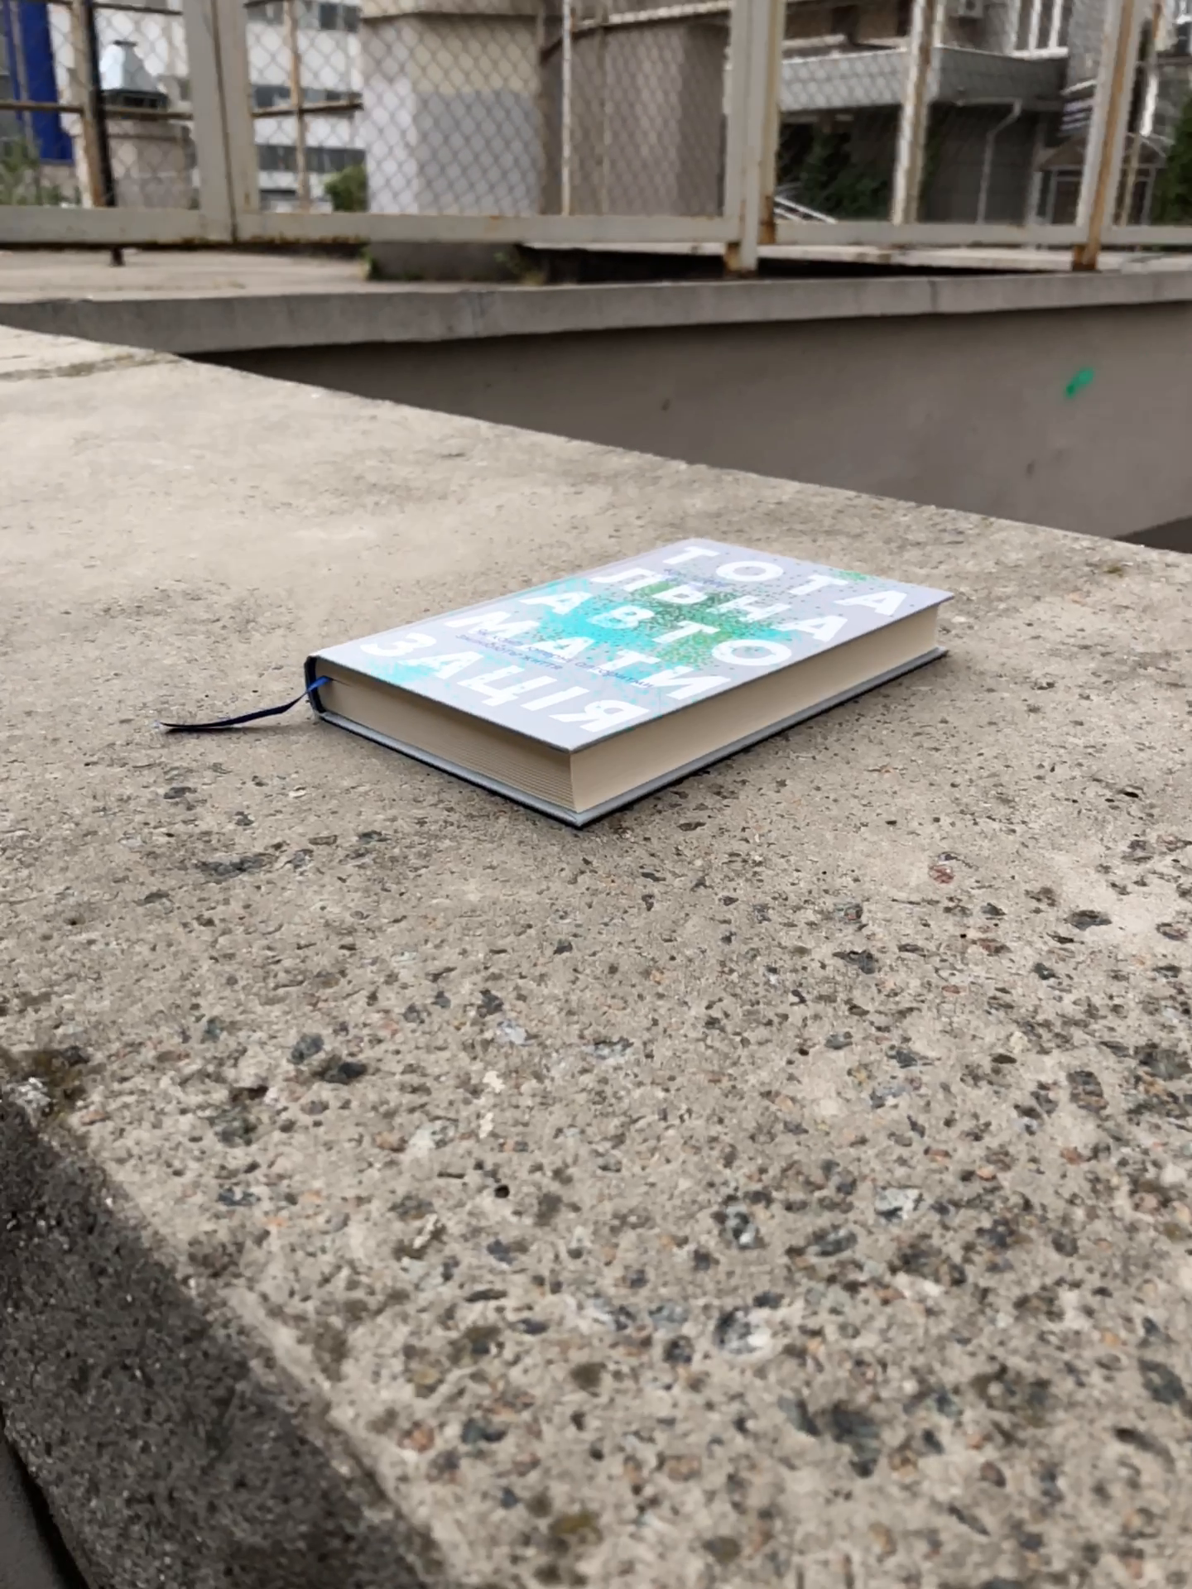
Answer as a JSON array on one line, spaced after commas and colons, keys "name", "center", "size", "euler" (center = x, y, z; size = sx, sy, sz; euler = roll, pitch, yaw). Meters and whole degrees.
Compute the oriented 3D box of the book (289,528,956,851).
[{"name": "book", "center": [0.016, -0.055, 0.518], "size": [0.150, 0.030, 0.221], "euler": [22, 35, 40]}]
